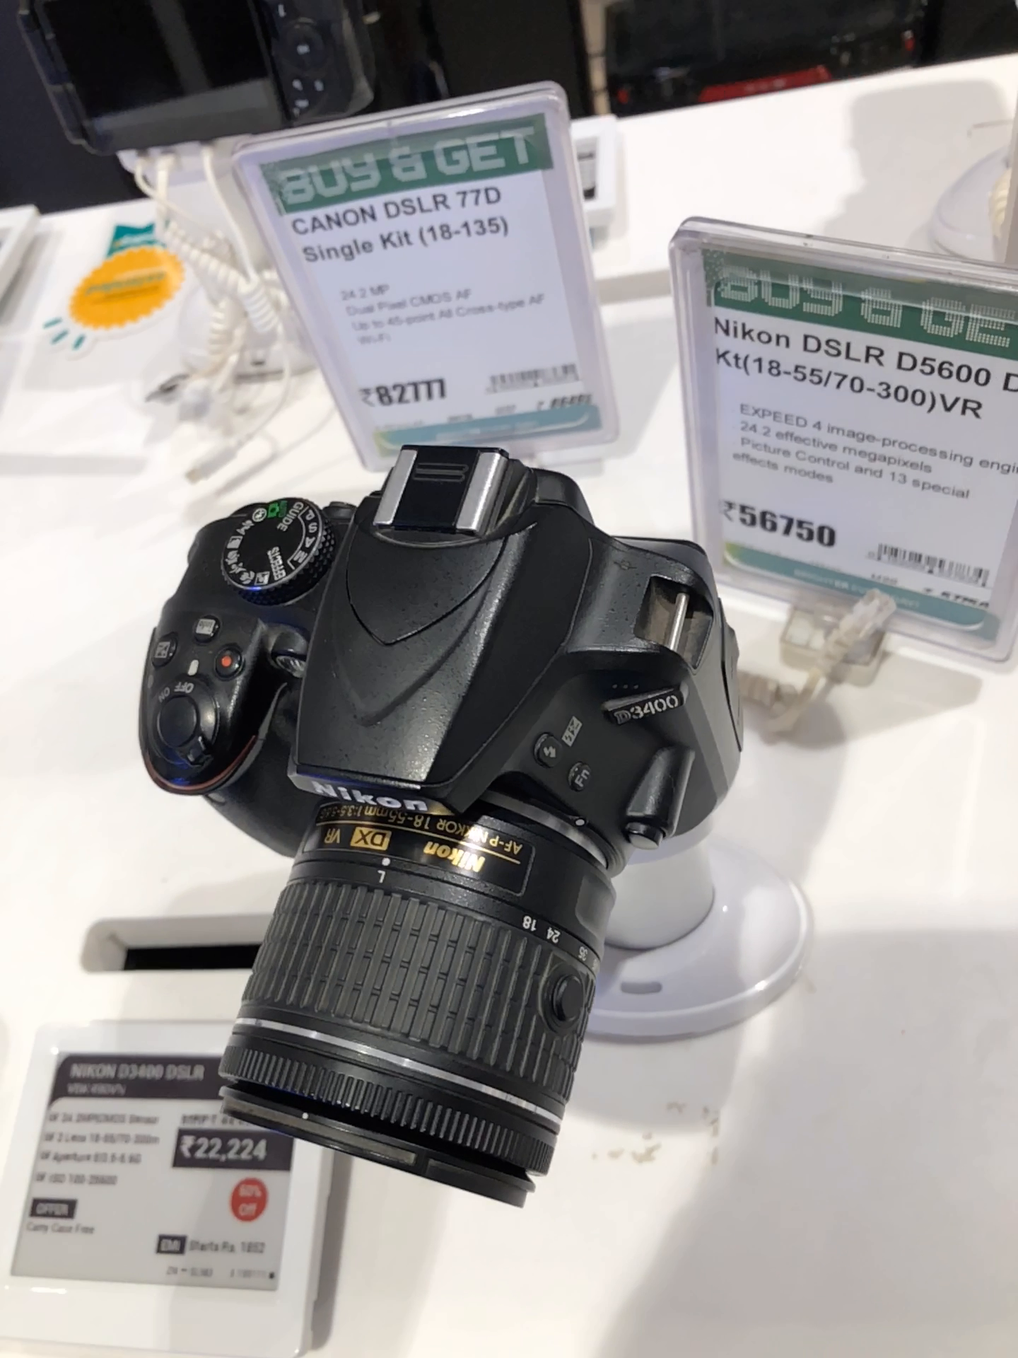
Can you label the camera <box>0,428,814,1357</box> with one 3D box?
[{"bbox_3d":[-0.020,0.034,0.202,0.130,0.090,0.120,6,60,18],"label":"camera"}]
